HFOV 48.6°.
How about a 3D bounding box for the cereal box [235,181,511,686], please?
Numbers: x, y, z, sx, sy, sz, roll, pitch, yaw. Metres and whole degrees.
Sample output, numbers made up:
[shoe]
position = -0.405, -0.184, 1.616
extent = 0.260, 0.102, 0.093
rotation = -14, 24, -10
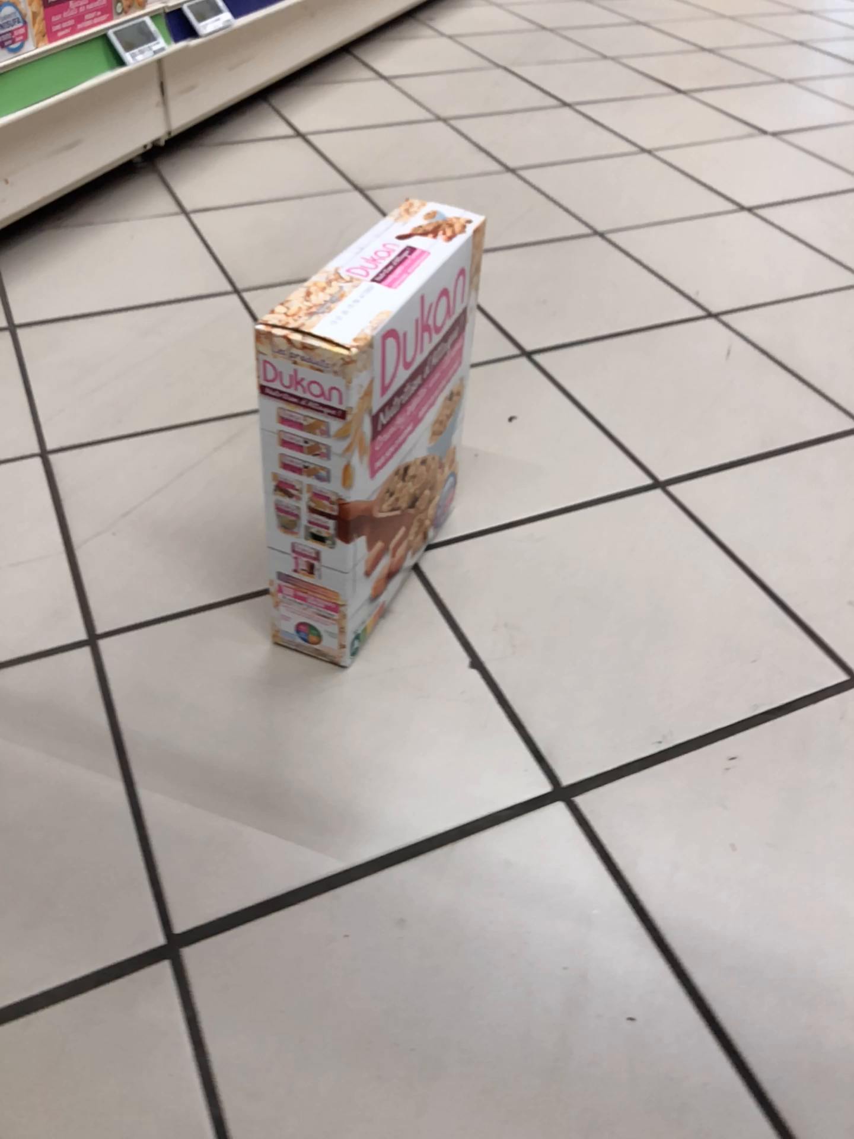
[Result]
[cereal box]
position = -0.021, -0.078, 0.520
extent = 0.060, 0.199, 0.191
rotation = 16, 42, 15
